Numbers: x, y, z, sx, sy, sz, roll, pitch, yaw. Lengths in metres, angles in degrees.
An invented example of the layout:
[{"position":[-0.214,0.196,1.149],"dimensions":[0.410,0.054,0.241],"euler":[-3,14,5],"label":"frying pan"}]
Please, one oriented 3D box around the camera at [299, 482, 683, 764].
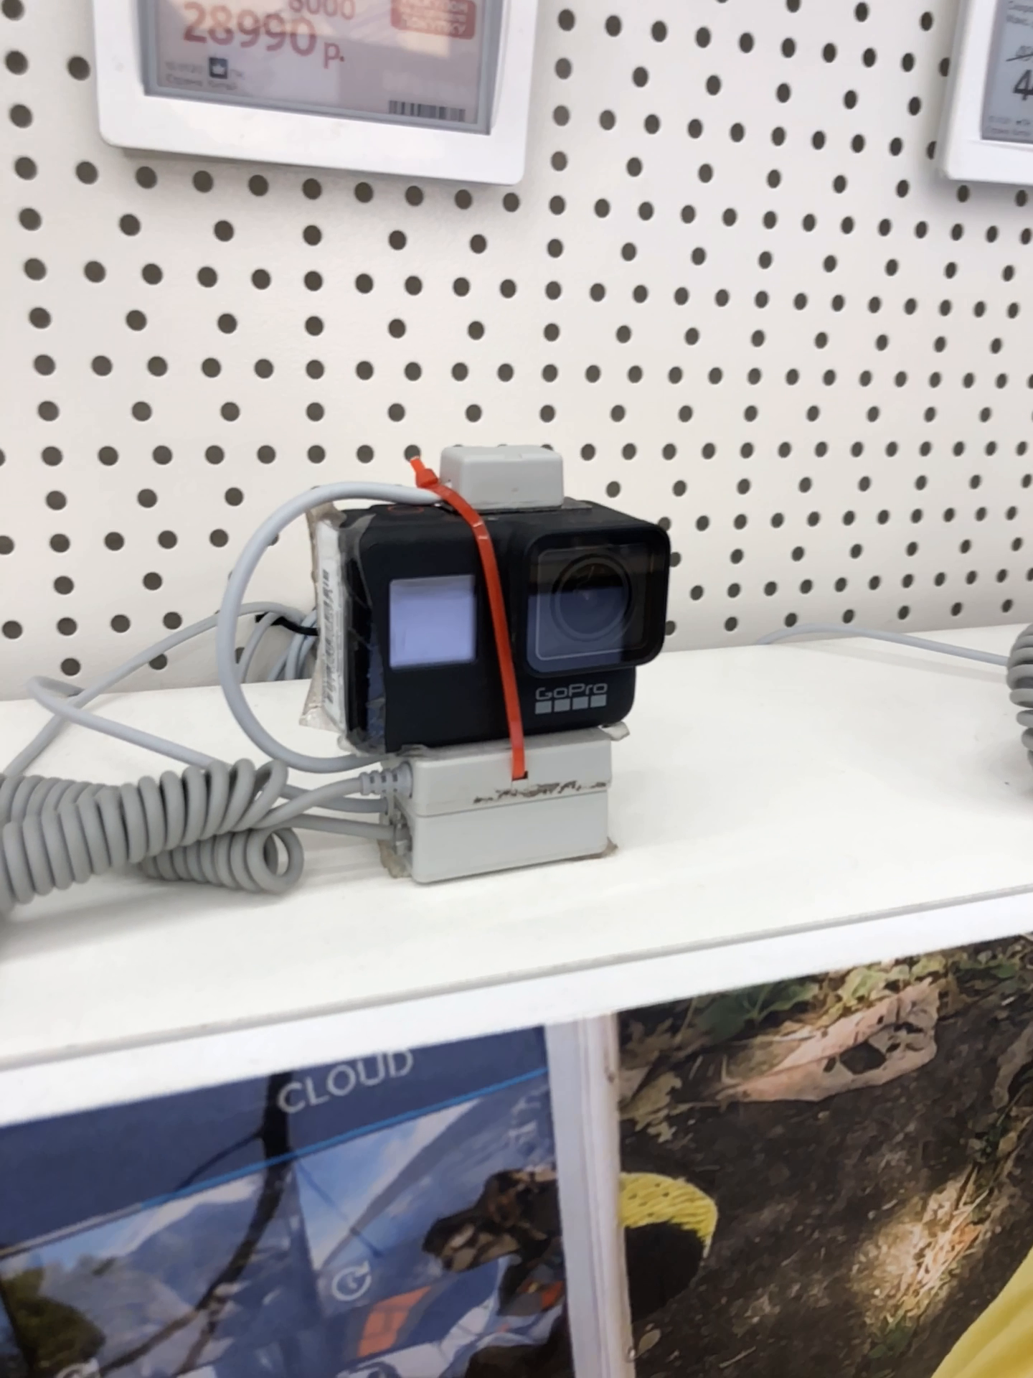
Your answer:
[{"position":[-0.006,-0.015,0.222],"dimensions":[0.066,0.044,0.029],"euler":[-6,20,-23],"label":"camera"}]
